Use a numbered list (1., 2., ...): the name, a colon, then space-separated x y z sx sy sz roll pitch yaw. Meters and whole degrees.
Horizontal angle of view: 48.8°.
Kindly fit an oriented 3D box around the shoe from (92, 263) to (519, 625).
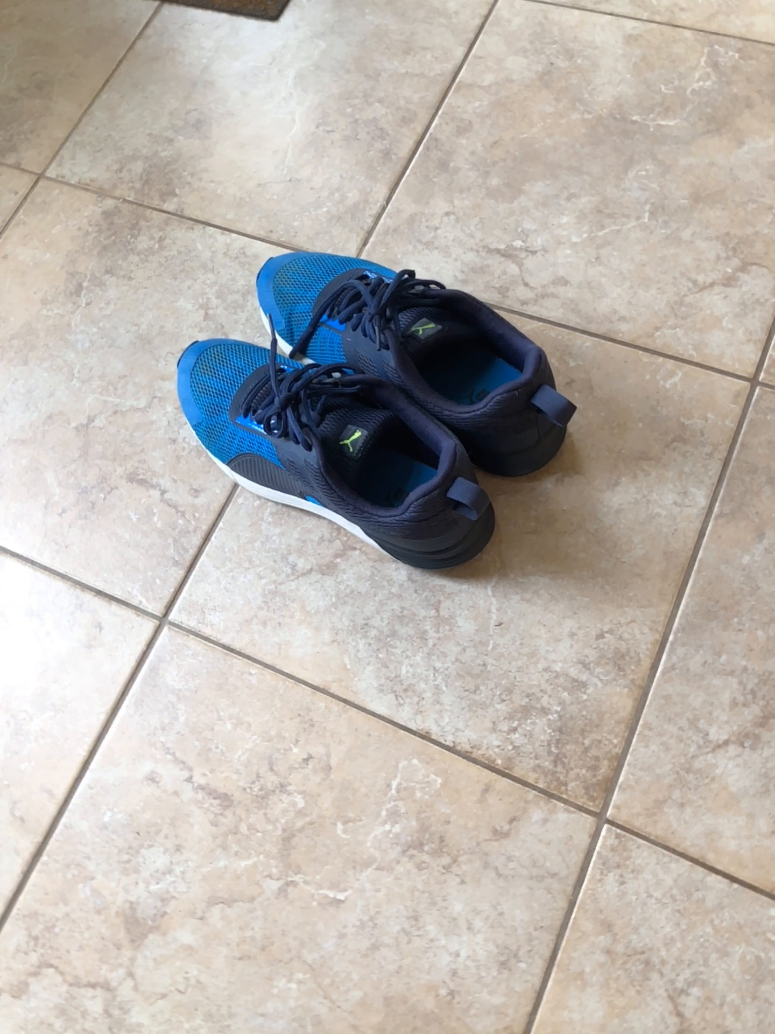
1. shoe: -0.055 -0.055 0.612 0.280 0.100 0.110 31 76 19

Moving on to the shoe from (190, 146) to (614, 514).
1. shoe: 0.008 -0.142 0.634 0.290 0.100 0.110 36 77 20
